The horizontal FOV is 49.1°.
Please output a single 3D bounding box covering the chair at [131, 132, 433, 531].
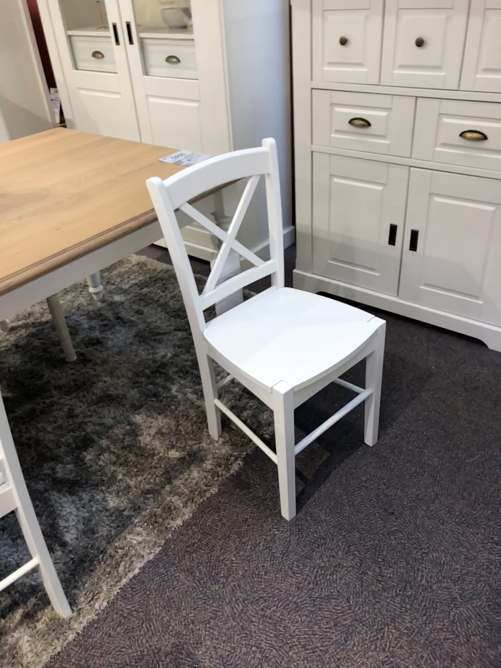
[{"bbox_3d":[0.093,-0.027,1.398,0.460,0.785,0.463,25,44,37],"label":"chair"}]
